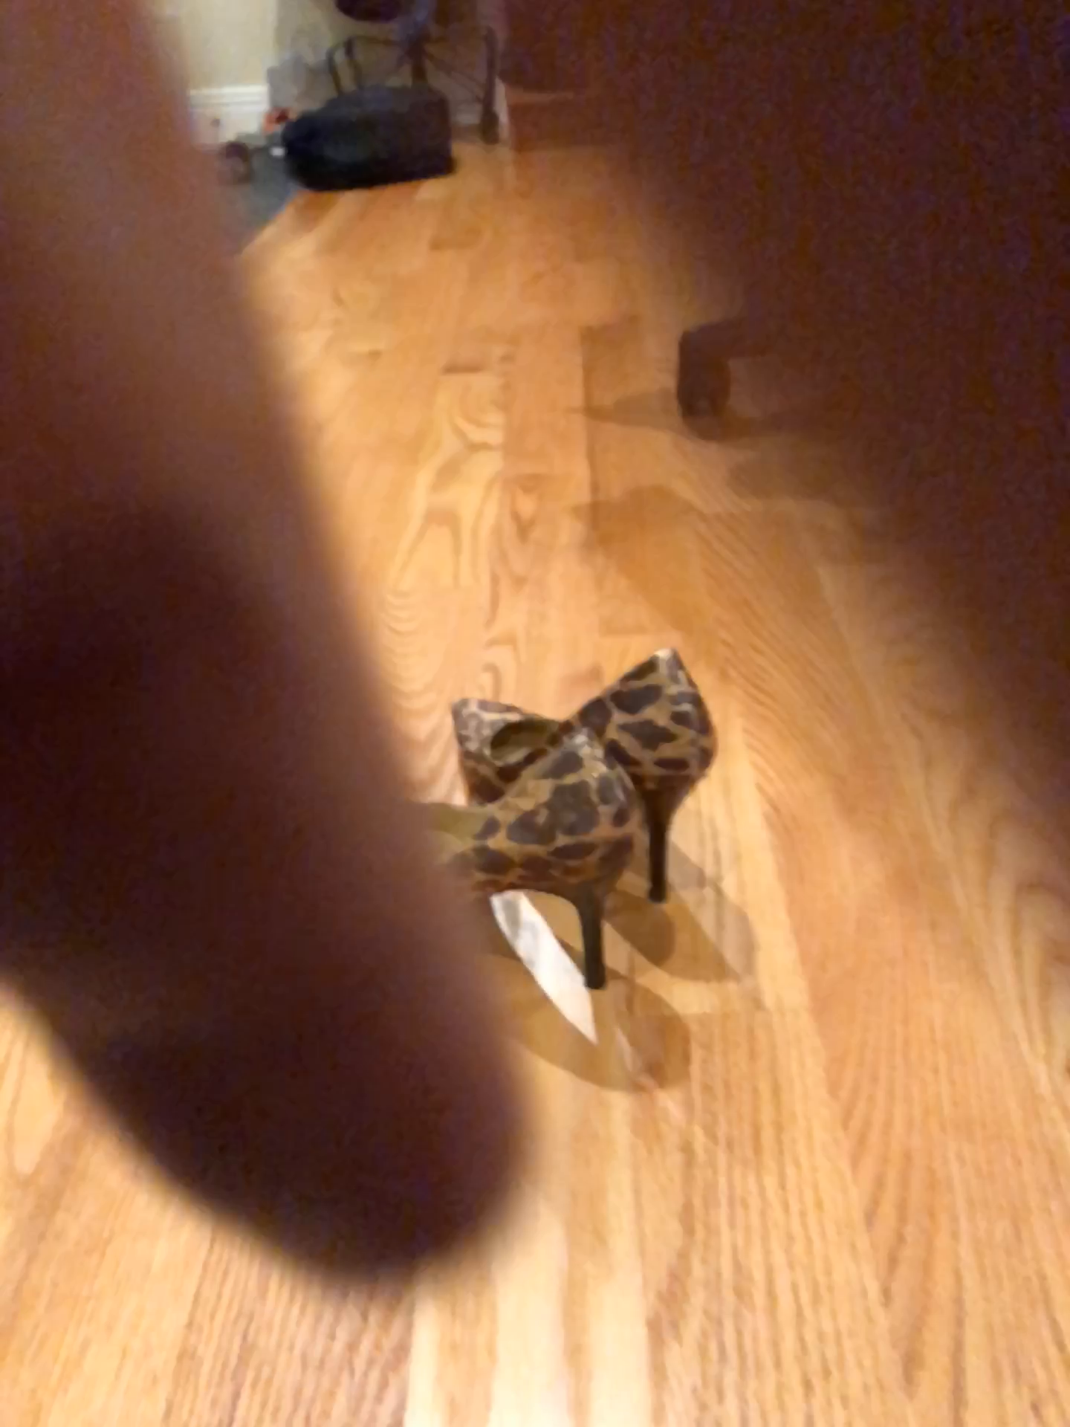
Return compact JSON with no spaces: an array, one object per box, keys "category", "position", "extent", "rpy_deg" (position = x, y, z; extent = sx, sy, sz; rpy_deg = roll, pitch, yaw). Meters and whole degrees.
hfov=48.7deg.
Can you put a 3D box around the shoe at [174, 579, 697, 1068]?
[{"category":"shoe","position":[-0.046,0.039,0.535],"extent":[0.227,0.136,0.076],"rpy_deg":[19,39,33]}]

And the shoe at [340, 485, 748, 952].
[{"category":"shoe","position":[-0.002,-0.010,0.591],"extent":[0.076,0.135,0.228],"rpy_deg":[-23,36,-27]}]
